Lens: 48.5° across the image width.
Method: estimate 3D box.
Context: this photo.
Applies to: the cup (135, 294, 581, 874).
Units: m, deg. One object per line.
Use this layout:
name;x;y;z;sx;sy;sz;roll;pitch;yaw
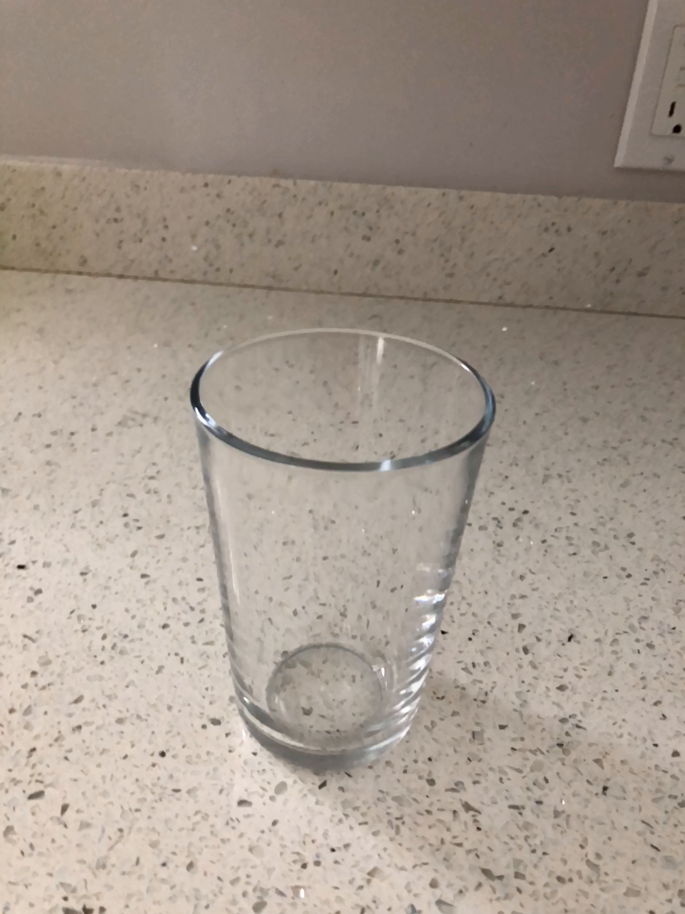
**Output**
cup;-0.003;0.028;0.206;0.074;0.114;0.080;2;32;-1
